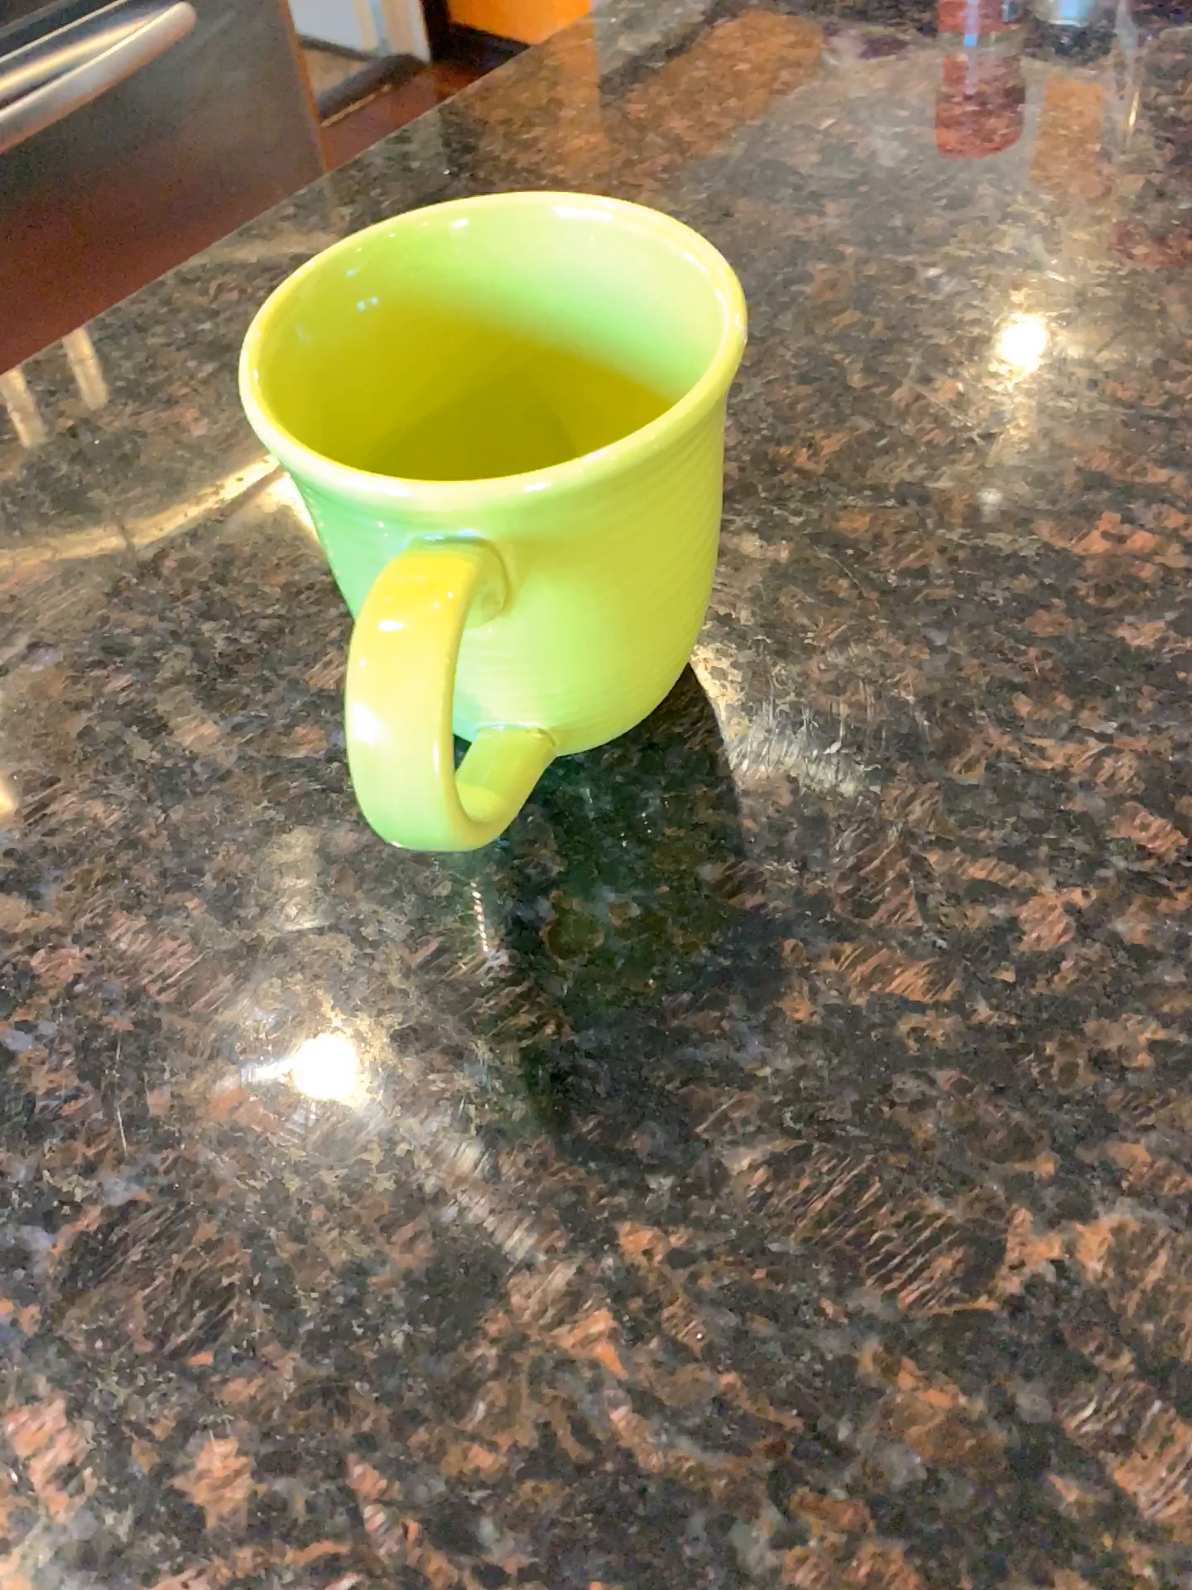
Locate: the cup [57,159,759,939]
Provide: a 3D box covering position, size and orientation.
[{"bbox_3d":[-0.021,-0.056,0.264,0.110,0.080,0.151,0,53,7],"label":"cup"}]
